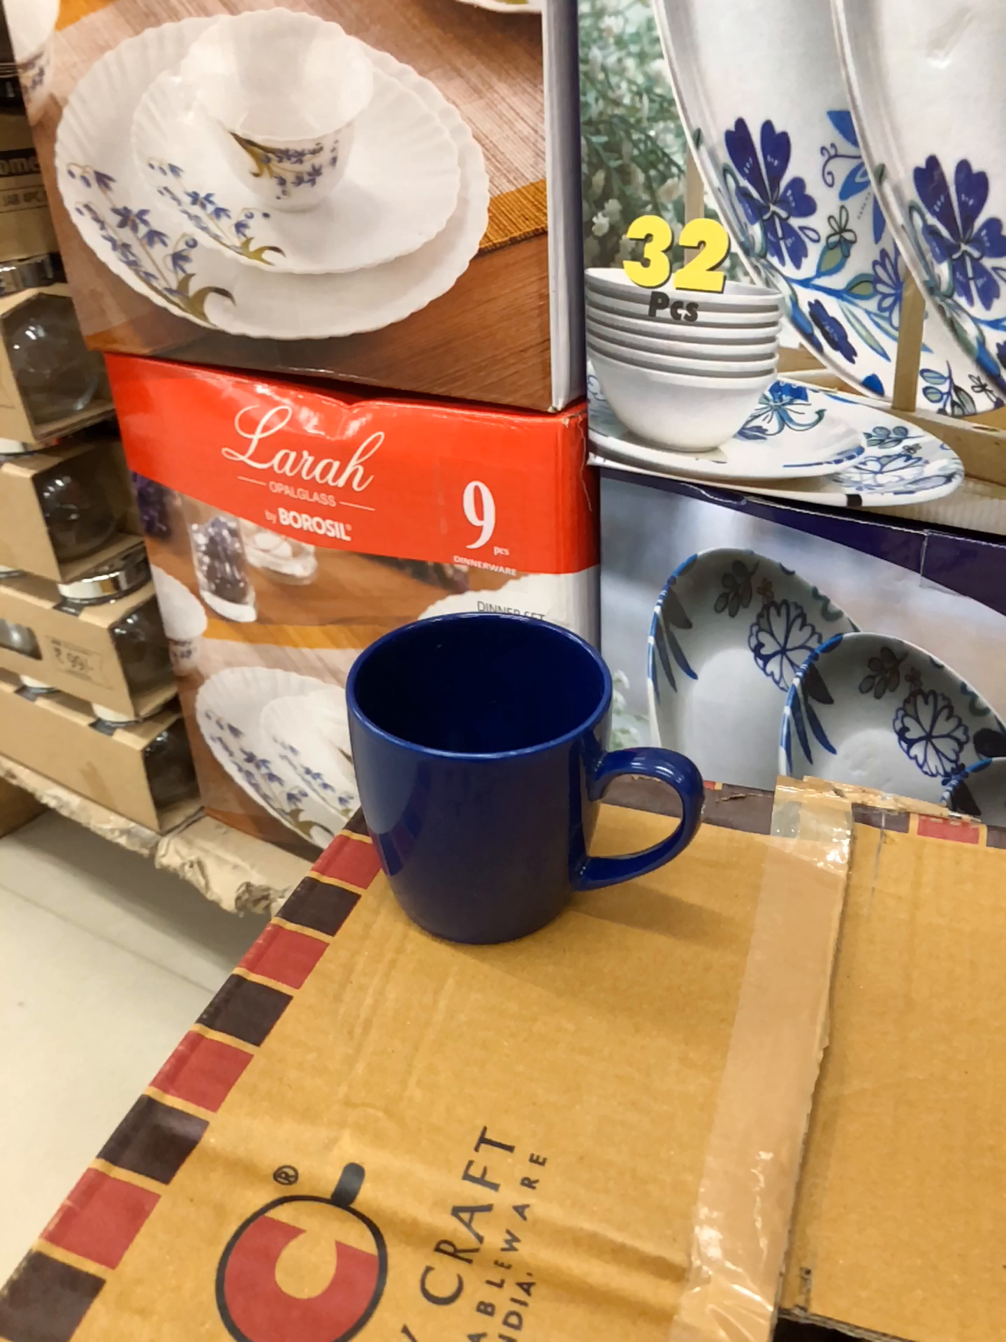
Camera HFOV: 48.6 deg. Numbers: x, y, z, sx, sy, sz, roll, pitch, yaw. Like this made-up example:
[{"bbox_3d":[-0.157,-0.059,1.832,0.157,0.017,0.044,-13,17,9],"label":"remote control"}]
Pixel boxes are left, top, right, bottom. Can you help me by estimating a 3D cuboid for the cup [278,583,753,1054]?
[{"bbox_3d":[0.007,0.034,0.303,0.100,0.079,0.070,12,33,25],"label":"cup"}]
